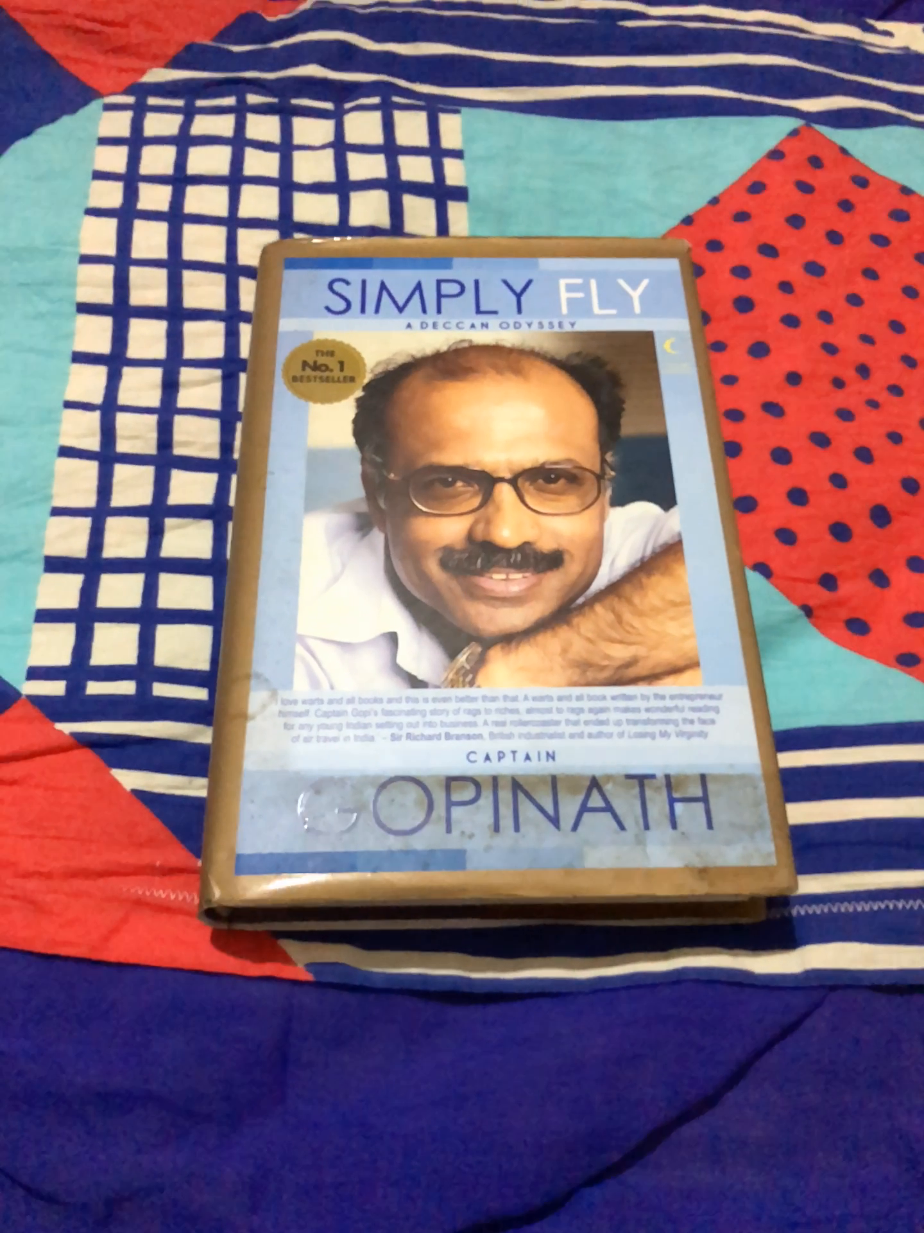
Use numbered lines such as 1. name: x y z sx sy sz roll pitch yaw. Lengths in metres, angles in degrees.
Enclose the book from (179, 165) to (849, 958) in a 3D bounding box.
1. book: 0.009 -0.030 0.323 0.160 0.050 0.250 0 64 -3
